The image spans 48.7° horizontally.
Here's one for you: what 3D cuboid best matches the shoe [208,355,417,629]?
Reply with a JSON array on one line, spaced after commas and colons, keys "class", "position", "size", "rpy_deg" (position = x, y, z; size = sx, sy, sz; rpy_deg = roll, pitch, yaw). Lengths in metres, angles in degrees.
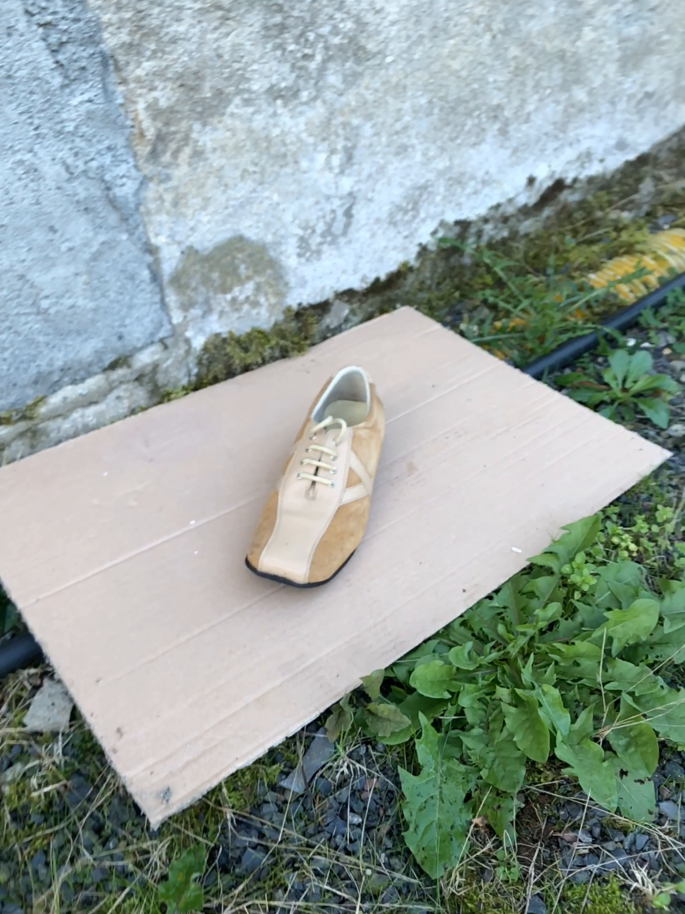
[{"class": "shoe", "position": [-0.014, 0.018, 0.713], "size": [0.100, 0.080, 0.272], "rpy_deg": [9, 43, 17]}]
